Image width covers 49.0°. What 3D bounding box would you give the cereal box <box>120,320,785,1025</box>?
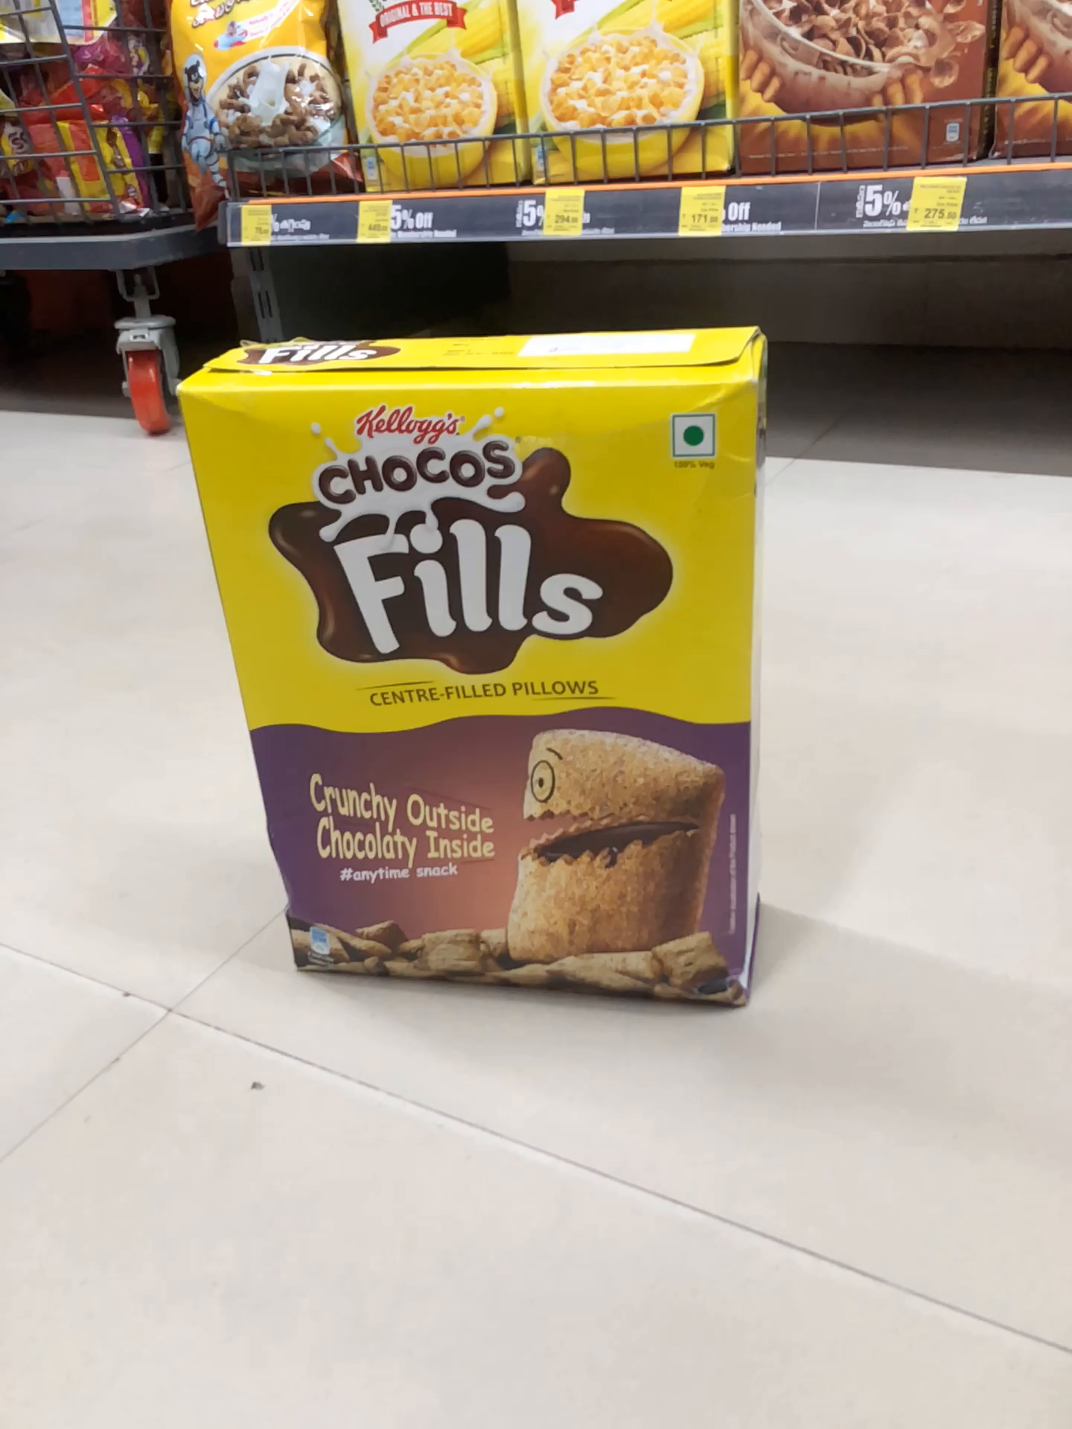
[{"bbox_3d":[-0.014,-0.014,0.412,0.190,0.219,0.080,3,28,14],"label":"cereal box"}]
